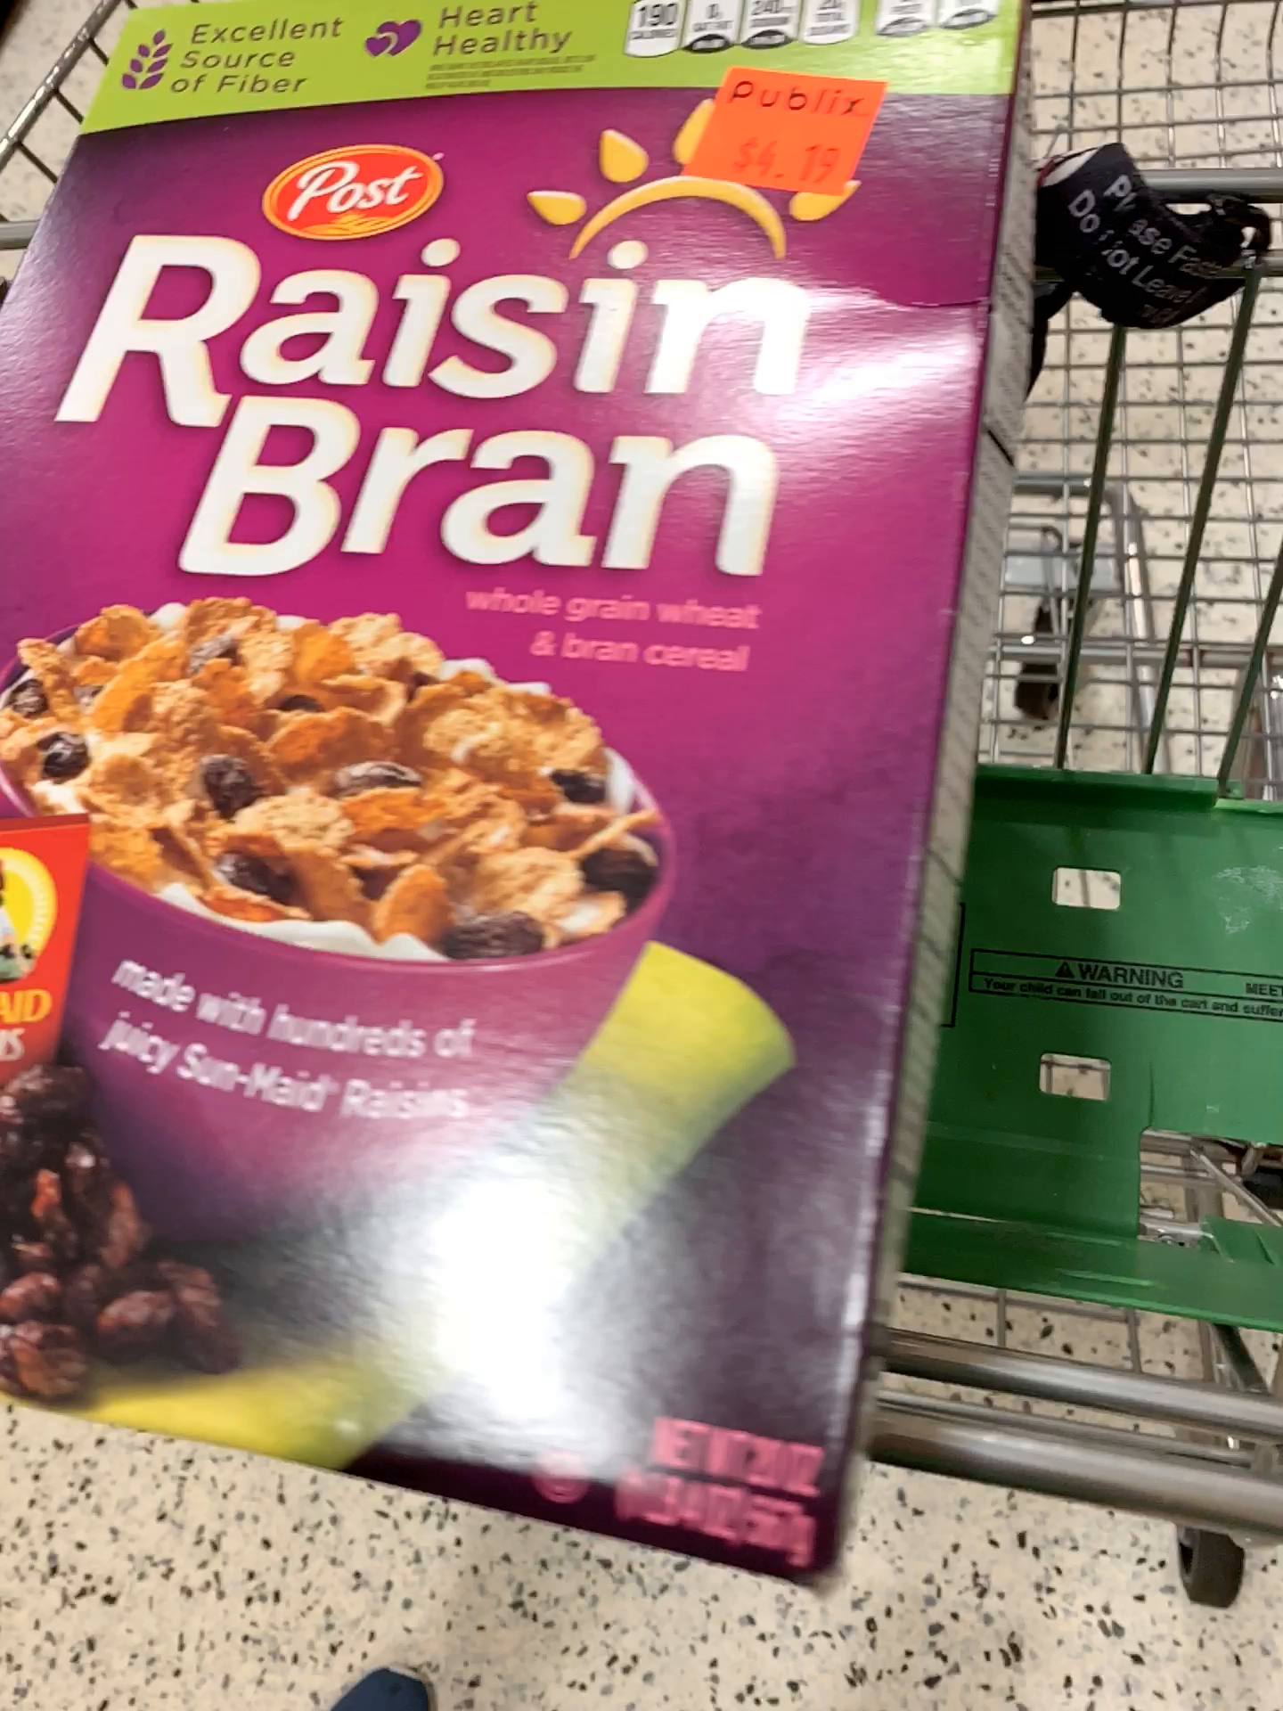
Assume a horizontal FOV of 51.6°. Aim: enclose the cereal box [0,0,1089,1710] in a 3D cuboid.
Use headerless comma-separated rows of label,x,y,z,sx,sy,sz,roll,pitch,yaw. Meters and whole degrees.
cereal box,-0.042,-0.038,0.237,0.210,0.060,0.281,5,69,15
